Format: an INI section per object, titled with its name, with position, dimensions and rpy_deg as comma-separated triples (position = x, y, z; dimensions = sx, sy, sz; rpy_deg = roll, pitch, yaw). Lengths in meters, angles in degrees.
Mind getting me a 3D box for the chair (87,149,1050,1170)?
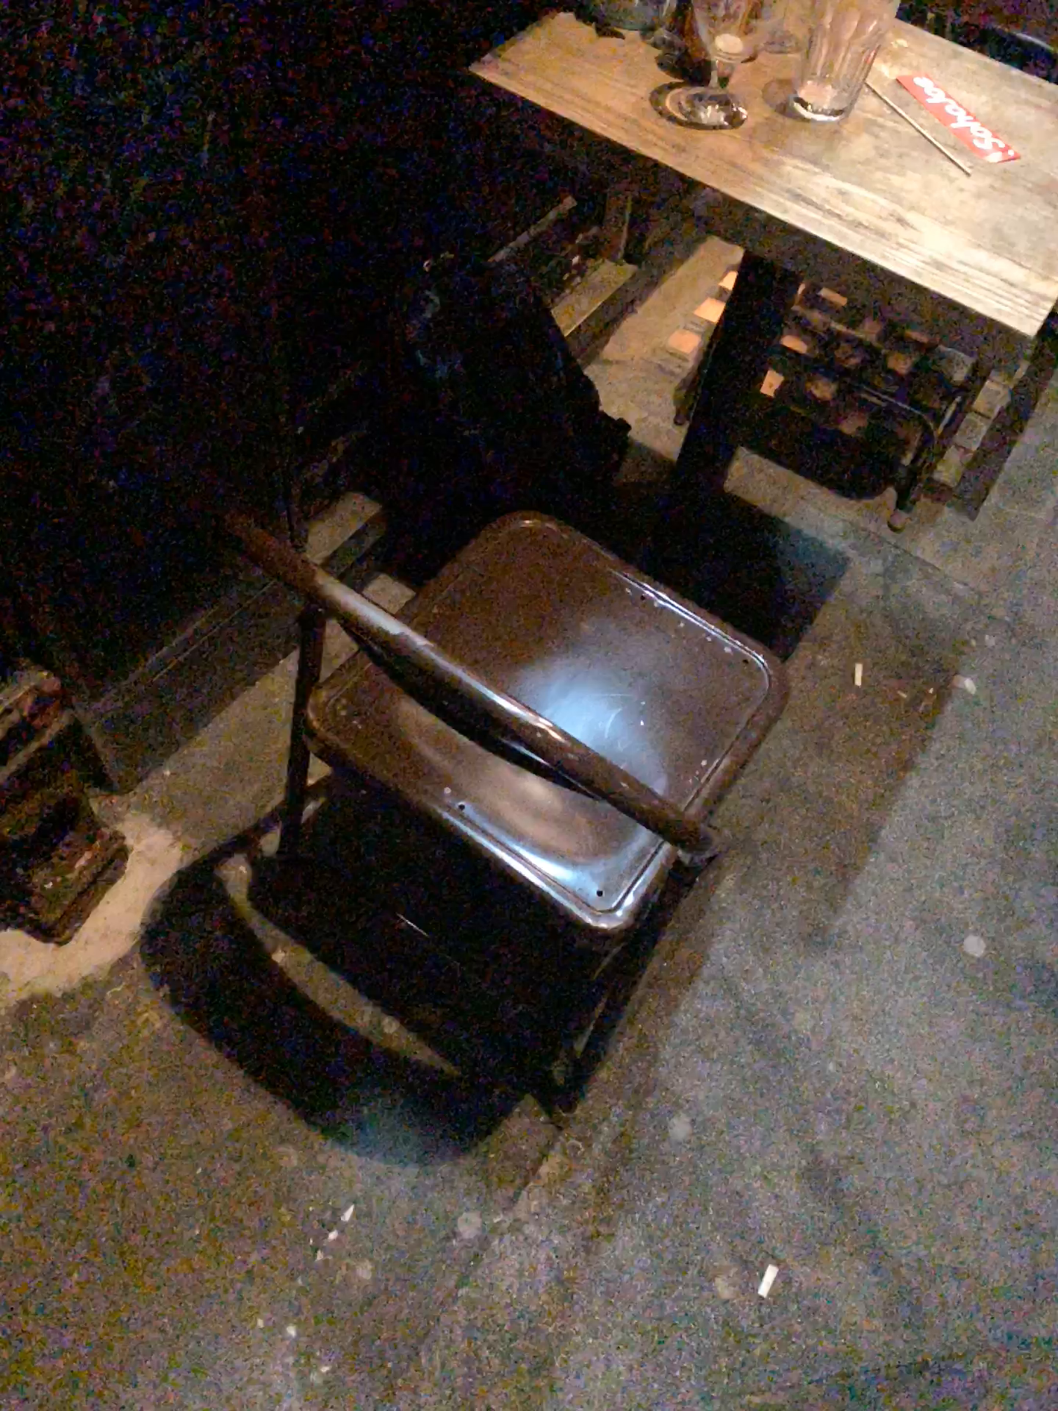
[chair]
position = 0.021, 0.000, 1.038
dimensions = 0.491, 0.724, 0.483
rpy_deg = 32, 57, 16
